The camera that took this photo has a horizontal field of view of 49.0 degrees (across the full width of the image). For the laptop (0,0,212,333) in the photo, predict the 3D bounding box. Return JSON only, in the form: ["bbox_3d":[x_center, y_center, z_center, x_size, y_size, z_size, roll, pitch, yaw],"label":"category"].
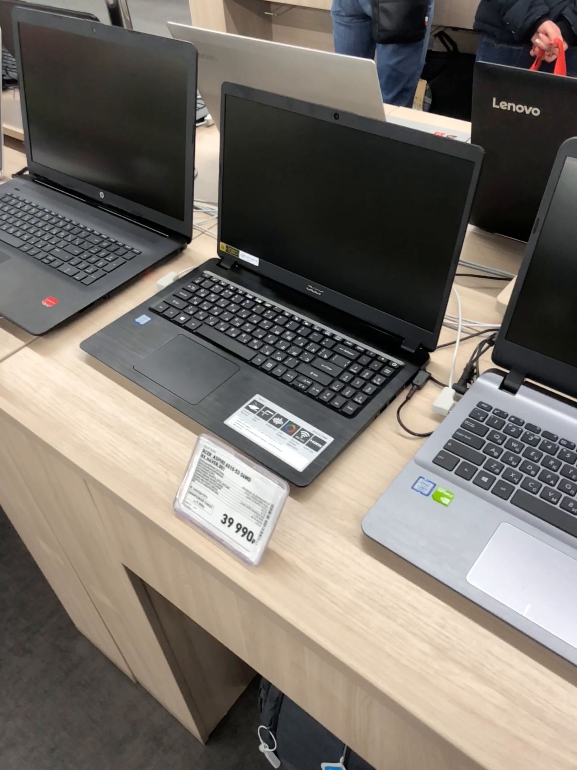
[{"bbox_3d":[-0.362,-0.331,0.880,0.354,0.226,0.346,26,53,25],"label":"laptop"}]

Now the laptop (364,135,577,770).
[{"bbox_3d":[0.287,0.017,0.479,0.327,0.218,0.325,28,55,31],"label":"laptop"}]

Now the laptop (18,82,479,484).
[{"bbox_3d":[-0.036,-0.139,0.690,0.346,0.219,0.292,28,53,30],"label":"laptop"}]
